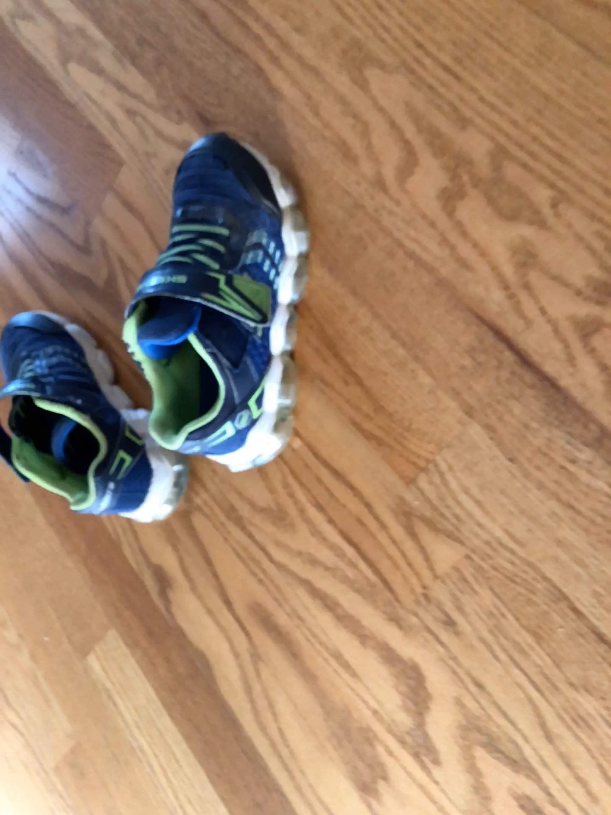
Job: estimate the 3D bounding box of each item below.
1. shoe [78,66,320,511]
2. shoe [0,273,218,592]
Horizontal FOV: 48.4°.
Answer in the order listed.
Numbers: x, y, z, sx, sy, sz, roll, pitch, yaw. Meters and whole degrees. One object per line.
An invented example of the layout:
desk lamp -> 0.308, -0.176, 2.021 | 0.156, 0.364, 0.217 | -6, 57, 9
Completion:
shoe -> -0.058, -0.058, 0.389 | 0.093, 0.087, 0.212 | 0, 94, 33
shoe -> -0.176, 0.008, 0.476 | 0.203, 0.095, 0.093 | 45, 116, 22
